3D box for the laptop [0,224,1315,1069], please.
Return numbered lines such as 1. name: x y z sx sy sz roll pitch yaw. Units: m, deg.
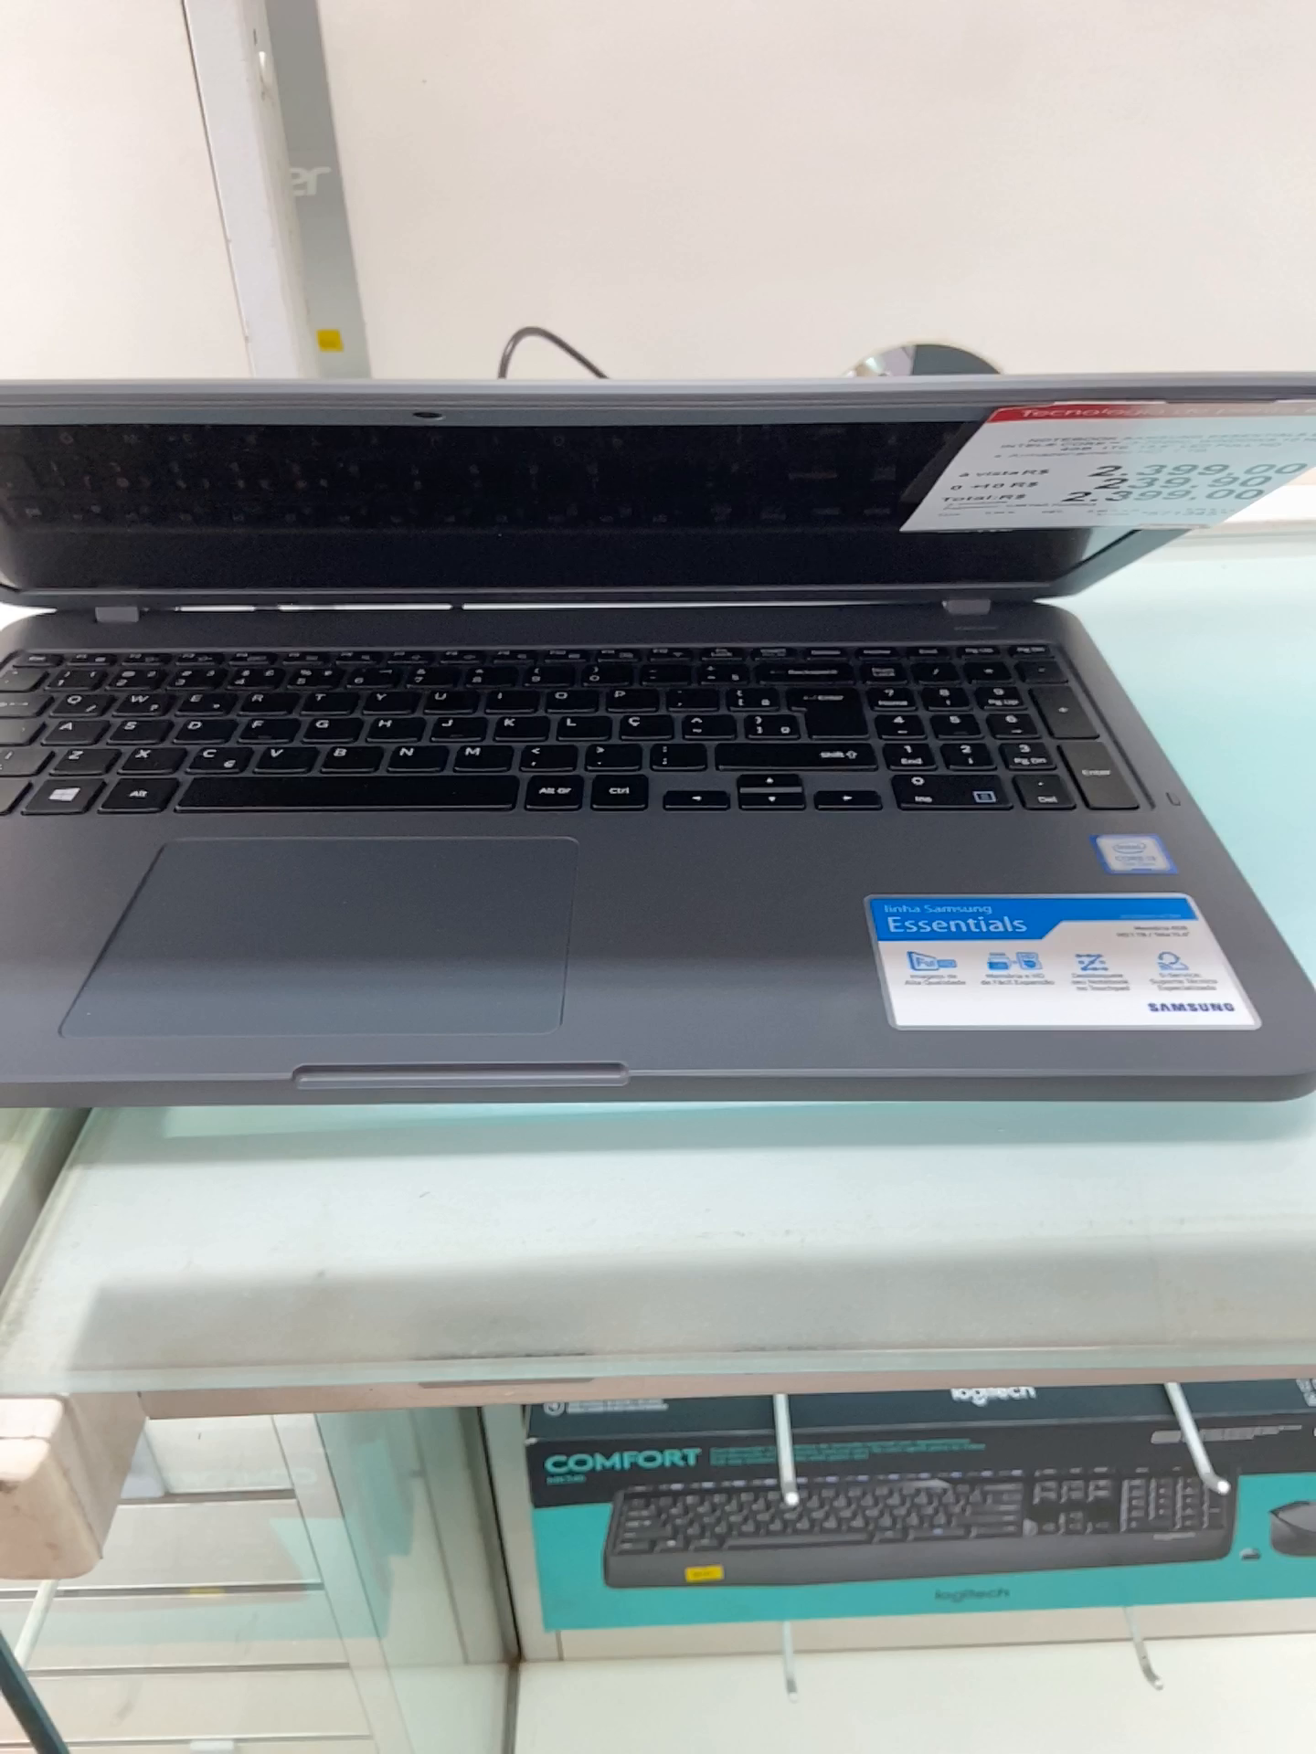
1. laptop: -0.044 -0.080 0.354 0.367 0.126 0.238 -1 34 0
